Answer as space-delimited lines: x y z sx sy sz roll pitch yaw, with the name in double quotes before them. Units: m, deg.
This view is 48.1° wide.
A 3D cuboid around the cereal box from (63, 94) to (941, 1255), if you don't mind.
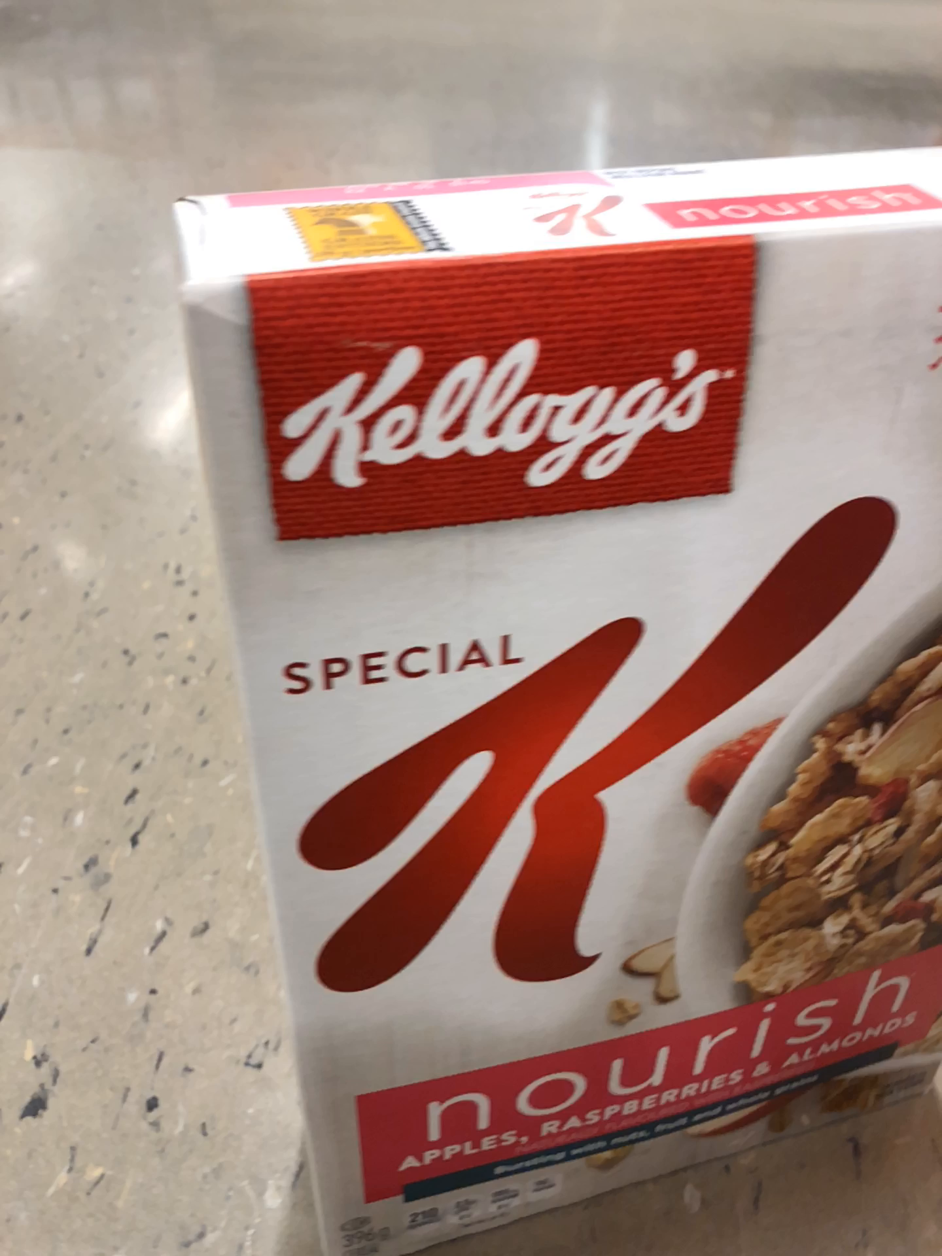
"cereal box" 0.045 0.042 0.249 0.210 0.289 0.050 -9 38 -14
